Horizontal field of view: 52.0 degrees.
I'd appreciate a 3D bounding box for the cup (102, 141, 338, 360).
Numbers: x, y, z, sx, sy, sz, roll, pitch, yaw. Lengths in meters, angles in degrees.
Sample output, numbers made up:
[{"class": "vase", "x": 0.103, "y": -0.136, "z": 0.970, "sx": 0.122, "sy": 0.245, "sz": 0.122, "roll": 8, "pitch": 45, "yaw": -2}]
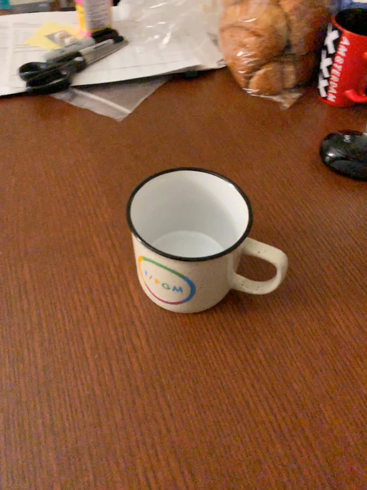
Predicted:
[{"class": "cup", "x": 0.028, "y": 0.002, "z": 0.321, "sx": 0.150, "sy": 0.100, "sz": 0.100, "roll": 22, "pitch": 55, "yaw": 14}]
